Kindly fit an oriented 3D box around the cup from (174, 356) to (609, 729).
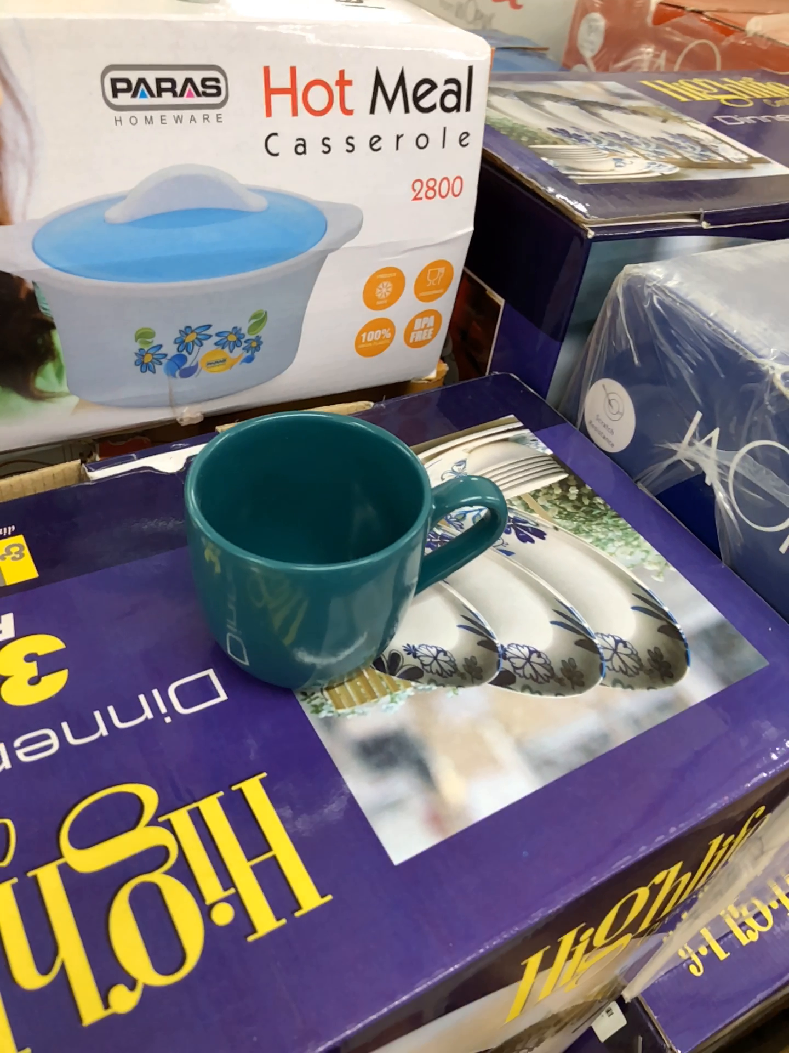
[{"bbox_3d":[-0.003,-0.001,0.232,0.090,0.050,0.060,-17,48,-28],"label":"cup"}]
